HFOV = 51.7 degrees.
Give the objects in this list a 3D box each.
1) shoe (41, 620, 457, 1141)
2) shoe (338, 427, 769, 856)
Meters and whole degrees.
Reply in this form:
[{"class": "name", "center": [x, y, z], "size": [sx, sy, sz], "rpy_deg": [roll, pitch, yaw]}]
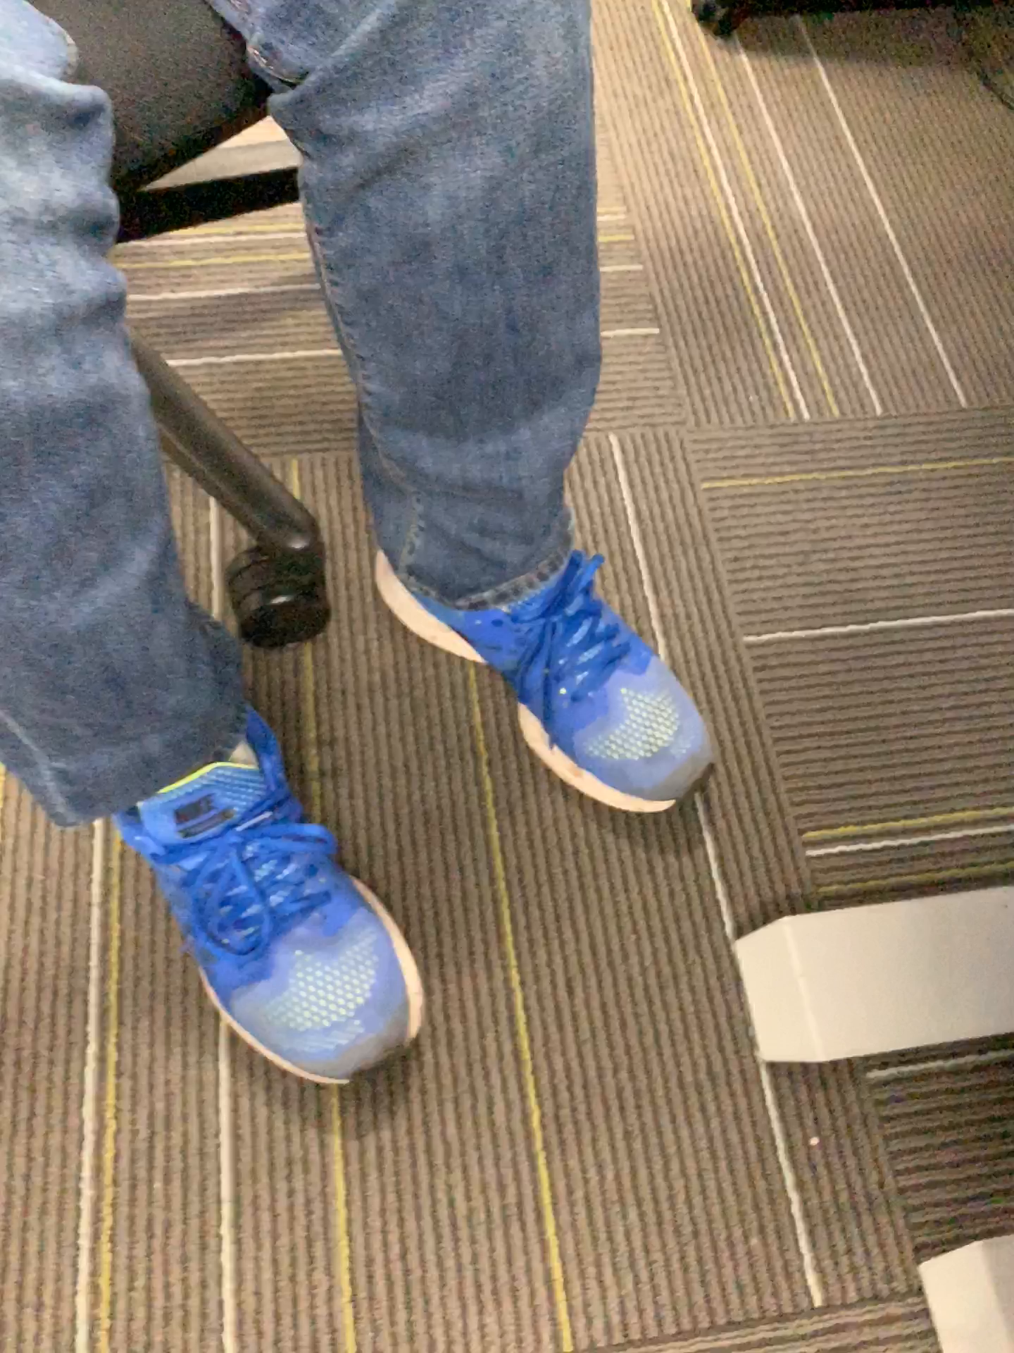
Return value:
[{"class": "shoe", "center": [-0.156, 0.116, 0.632], "size": [0.117, 0.083, 0.279], "rpy_deg": [-30, 68, -17]}, {"class": "shoe", "center": [0.023, -0.029, 0.708], "size": [0.116, 0.083, 0.279], "rpy_deg": [-39, 71, -20]}]
